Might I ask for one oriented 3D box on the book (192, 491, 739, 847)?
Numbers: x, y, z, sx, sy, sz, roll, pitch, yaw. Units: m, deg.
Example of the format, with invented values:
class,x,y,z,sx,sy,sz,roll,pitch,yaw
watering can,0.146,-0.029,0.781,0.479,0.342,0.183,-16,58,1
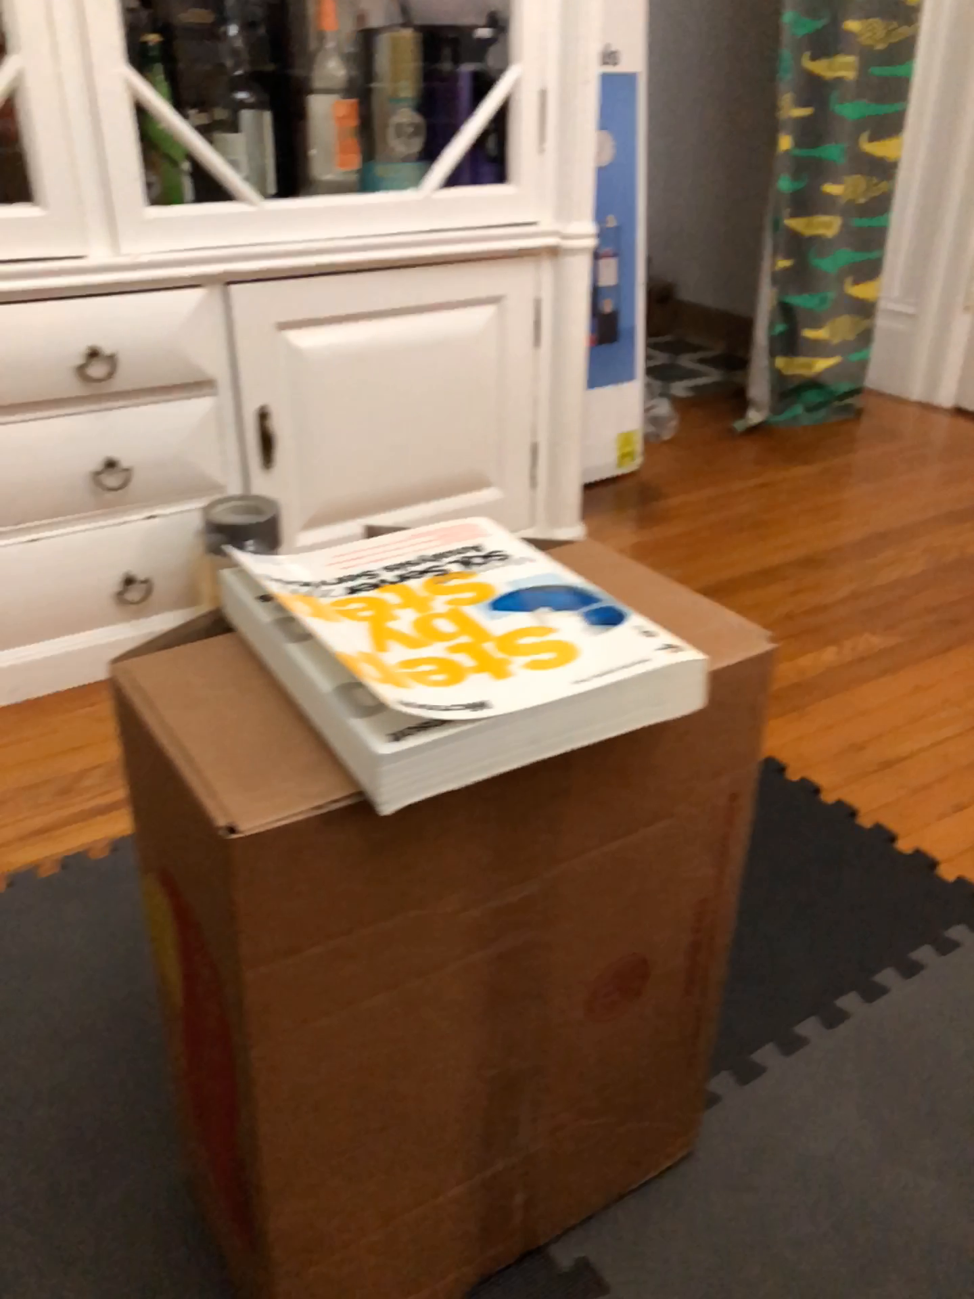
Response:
class,x,y,z,sx,sy,sz,roll,pitch,yaw
book,-0.021,-0.010,0.595,0.201,0.050,0.241,-20,32,-28
